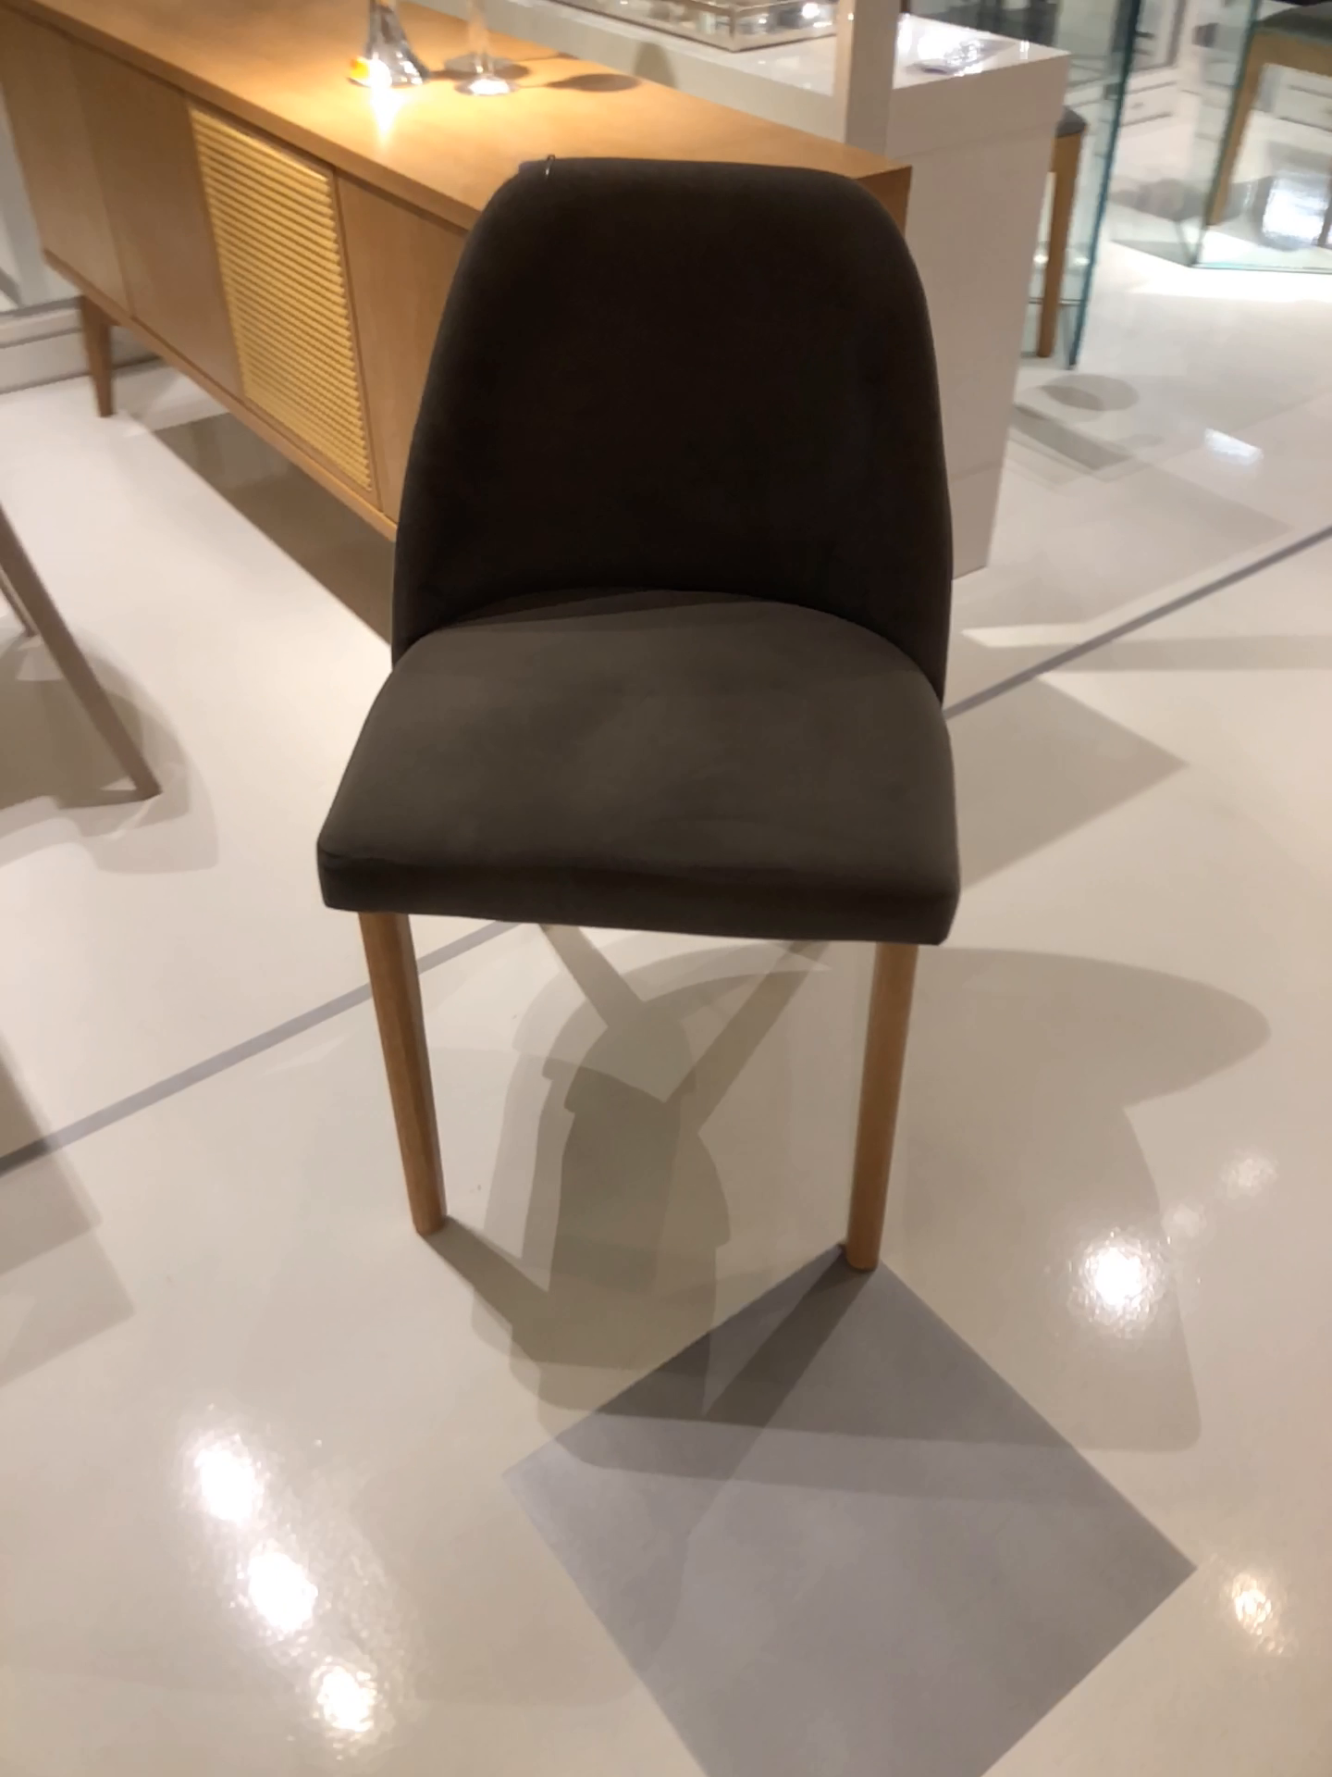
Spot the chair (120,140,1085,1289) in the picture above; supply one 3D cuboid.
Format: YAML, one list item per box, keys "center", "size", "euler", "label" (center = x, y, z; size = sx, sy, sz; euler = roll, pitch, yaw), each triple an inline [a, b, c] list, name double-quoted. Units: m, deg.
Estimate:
- center: [-0.009, -0.145, 1.254]
  size: [0.530, 0.774, 0.564]
  euler: [3, 40, 5]
  label: "chair"
